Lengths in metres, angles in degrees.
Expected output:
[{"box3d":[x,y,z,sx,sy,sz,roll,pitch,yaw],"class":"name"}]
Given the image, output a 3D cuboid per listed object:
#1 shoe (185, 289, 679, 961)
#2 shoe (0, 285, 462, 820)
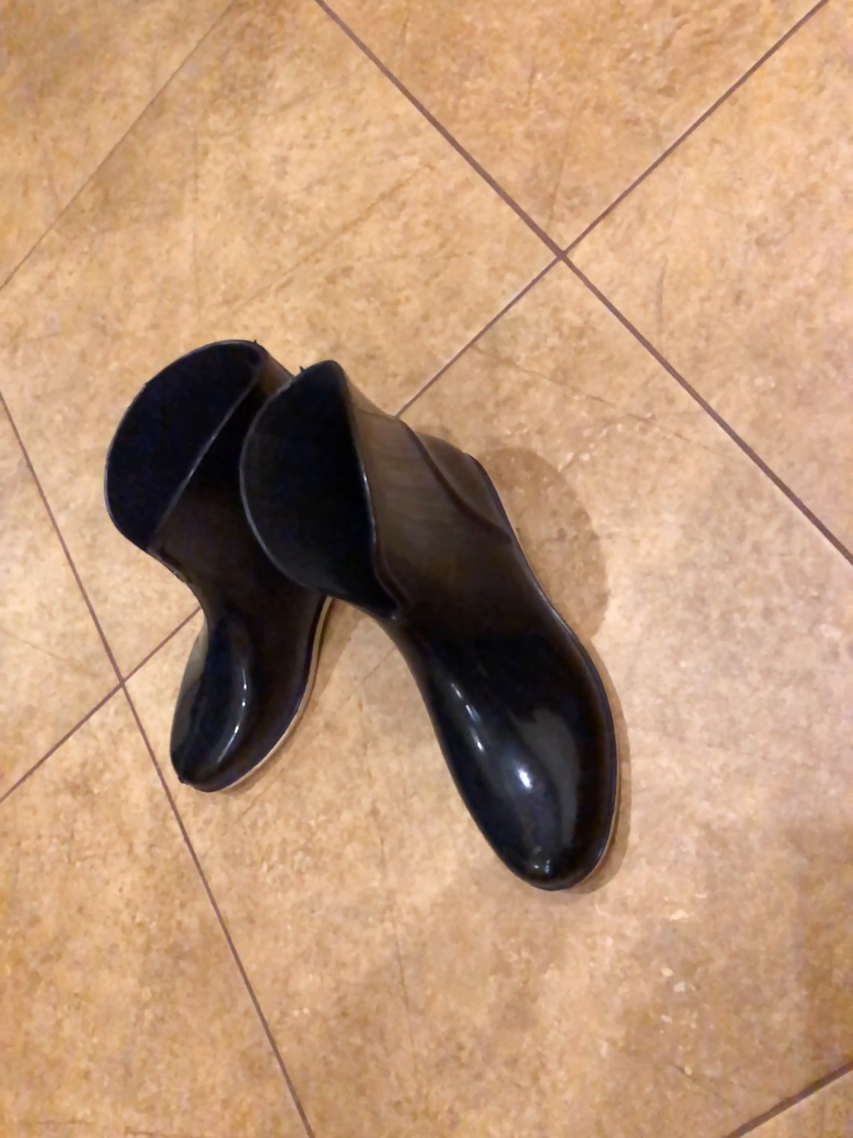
[{"box3d":[0.004,0.029,0.425,0.090,0.169,0.241,-27,65,23],"class":"shoe"},{"box3d":[-0.115,0.006,0.506,0.090,0.169,0.240,34,96,33],"class":"shoe"}]
